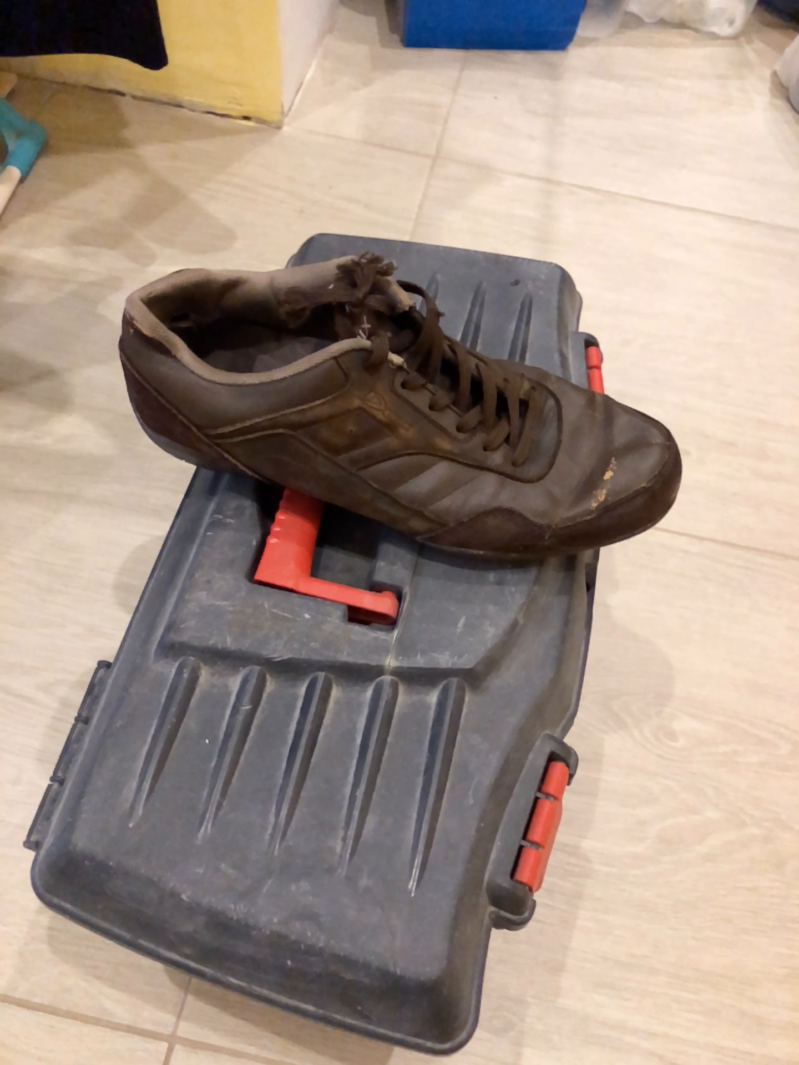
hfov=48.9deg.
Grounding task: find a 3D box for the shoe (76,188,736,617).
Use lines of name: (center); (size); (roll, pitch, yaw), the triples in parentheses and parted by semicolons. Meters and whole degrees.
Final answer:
shoe: (0.007, -0.064, 0.438); (0.280, 0.099, 0.111); (15, 58, 4)
